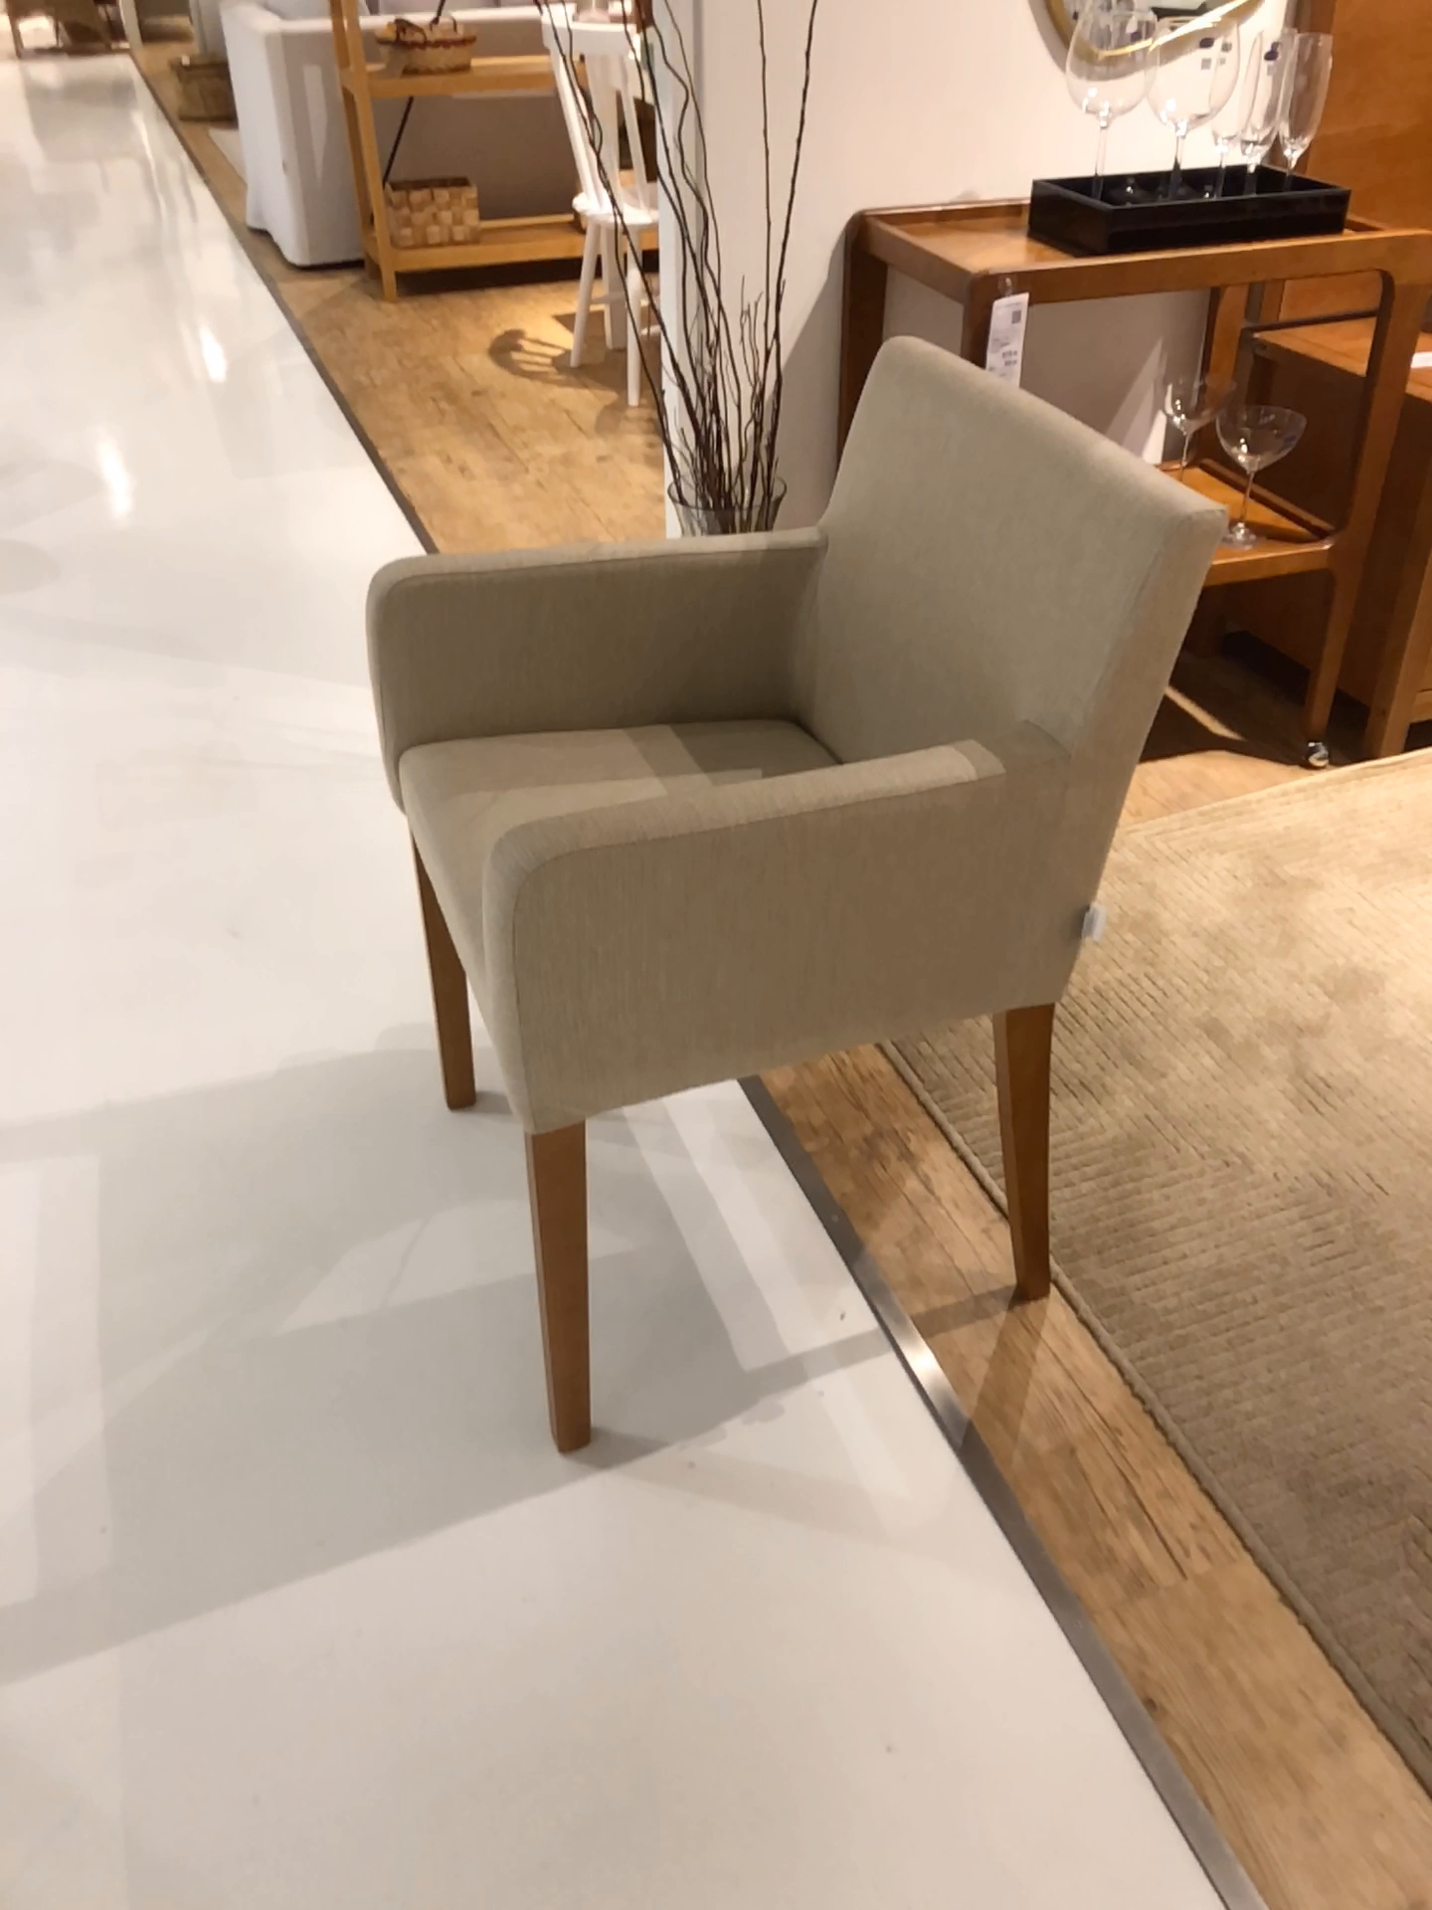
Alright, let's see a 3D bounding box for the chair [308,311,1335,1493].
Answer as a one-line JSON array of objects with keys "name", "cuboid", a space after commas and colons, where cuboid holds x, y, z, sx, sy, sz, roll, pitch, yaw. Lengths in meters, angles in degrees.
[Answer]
[{"name": "chair", "cuboid": [0.037, -0.080, 1.458, 0.620, 0.794, 0.604, -12, 37, -15]}]
